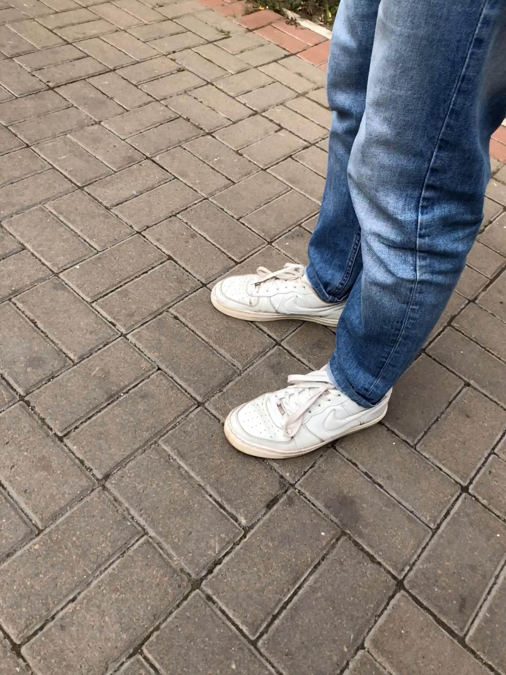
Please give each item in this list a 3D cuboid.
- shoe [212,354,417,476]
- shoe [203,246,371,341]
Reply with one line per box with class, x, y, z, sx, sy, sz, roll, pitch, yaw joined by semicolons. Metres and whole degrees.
shoe;0.097;0.119;0.887;0.300;0.070;0.111;-11;52;-18
shoe;0.065;-0.085;1.056;0.300;0.070;0.121;9;48;-1
